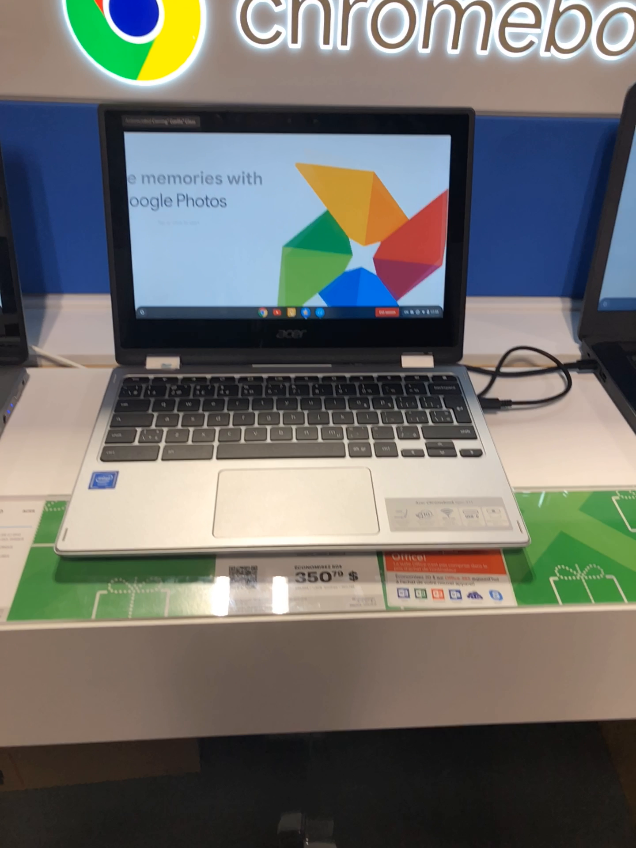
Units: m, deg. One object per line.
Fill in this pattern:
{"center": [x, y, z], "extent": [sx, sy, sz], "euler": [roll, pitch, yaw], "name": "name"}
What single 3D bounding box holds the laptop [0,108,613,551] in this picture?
{"center": [-0.016, -0.081, 0.480], "extent": [0.284, 0.181, 0.274], "euler": [0, 38, -4], "name": "laptop"}
